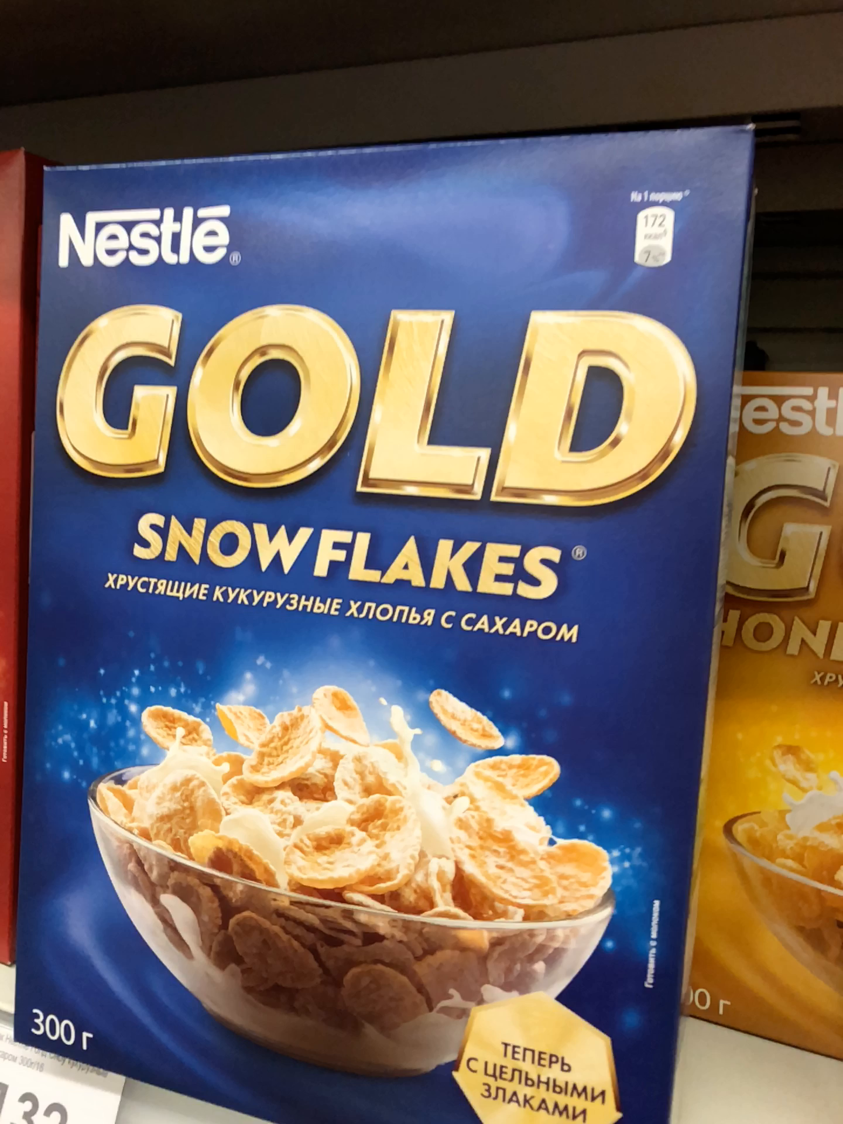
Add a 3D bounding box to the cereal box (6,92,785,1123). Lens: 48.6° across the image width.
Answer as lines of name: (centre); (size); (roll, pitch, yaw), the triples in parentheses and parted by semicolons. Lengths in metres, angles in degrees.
cereal box: (-0.016, 0.024, 0.264); (0.200, 0.270, 0.050); (5, 4, 19)
